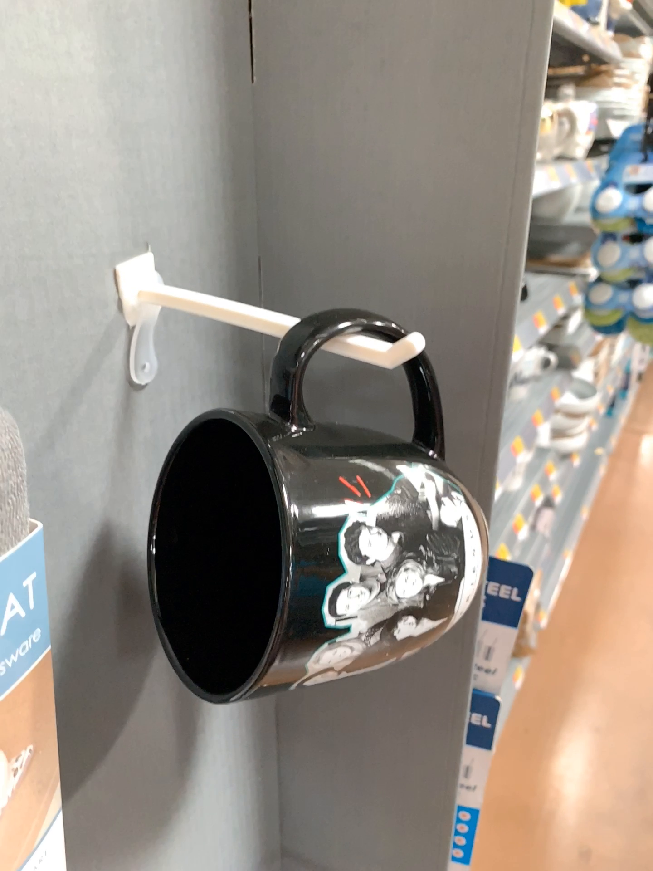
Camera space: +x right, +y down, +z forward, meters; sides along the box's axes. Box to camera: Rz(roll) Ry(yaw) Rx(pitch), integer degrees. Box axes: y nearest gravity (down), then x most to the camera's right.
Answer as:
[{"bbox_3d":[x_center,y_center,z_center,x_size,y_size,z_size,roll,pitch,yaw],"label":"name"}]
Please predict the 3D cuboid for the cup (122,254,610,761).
[{"bbox_3d":[0.011,0.018,0.243,0.115,0.128,0.087,5,16,-39],"label":"cup"}]
